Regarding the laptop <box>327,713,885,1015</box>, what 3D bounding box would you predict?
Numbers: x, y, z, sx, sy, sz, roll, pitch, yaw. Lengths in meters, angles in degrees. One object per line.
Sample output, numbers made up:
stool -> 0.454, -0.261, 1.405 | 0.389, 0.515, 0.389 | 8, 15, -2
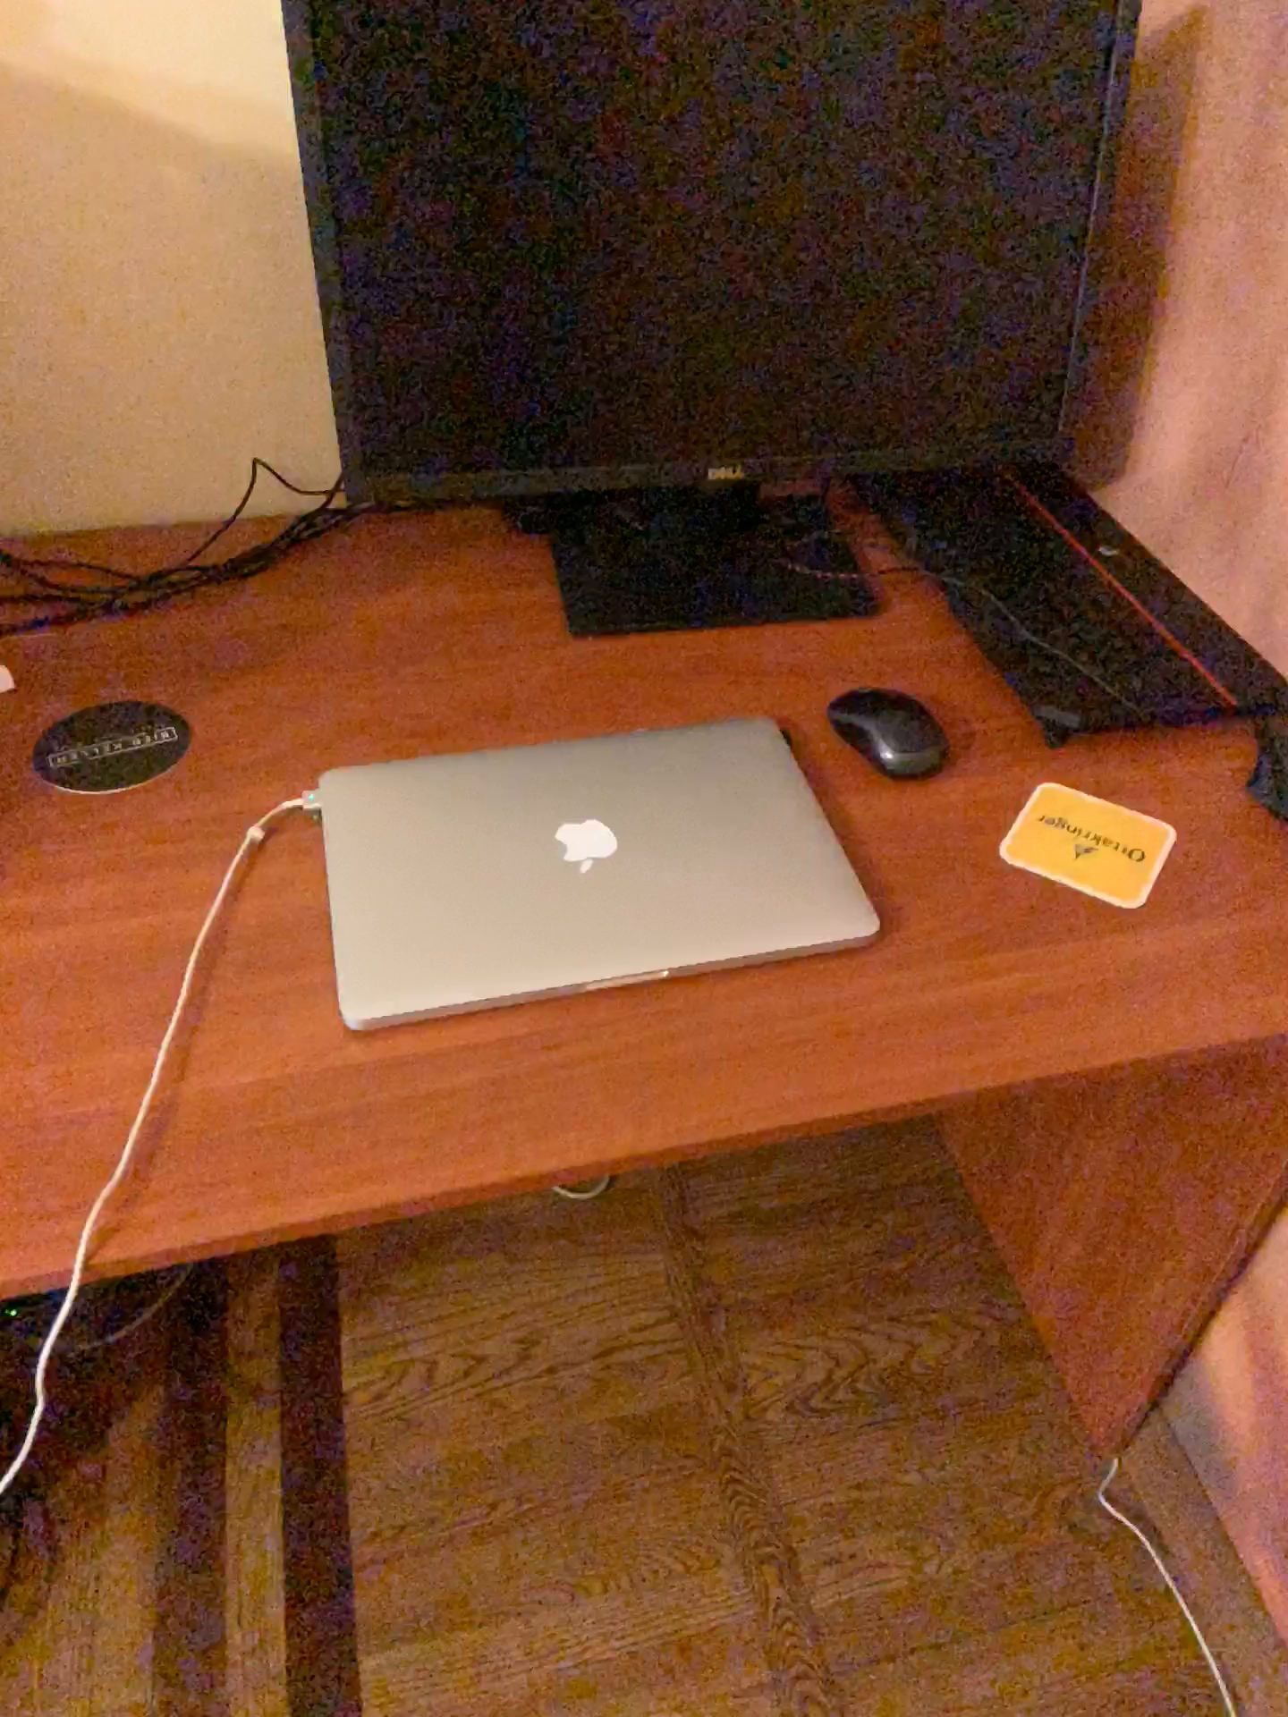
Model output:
laptop -> -0.033, -0.009, 0.800 | 0.306, 0.001, 0.214 | -8, 44, -12
